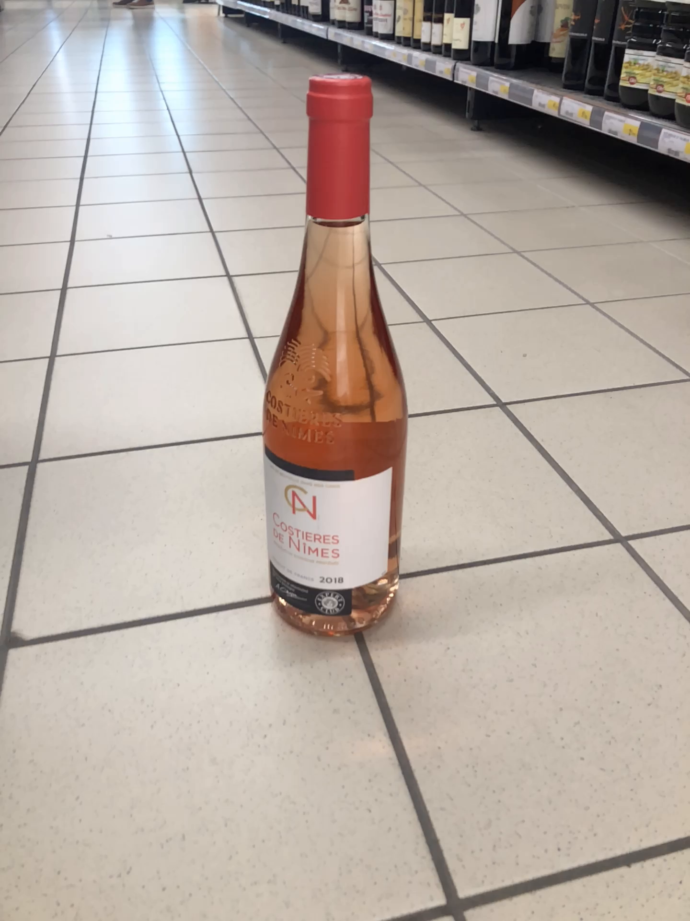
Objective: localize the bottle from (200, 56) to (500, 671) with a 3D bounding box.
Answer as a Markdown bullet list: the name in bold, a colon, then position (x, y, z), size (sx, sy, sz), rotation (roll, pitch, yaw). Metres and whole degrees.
- **bottle**: position (0.005, -0.040, 0.379), size (0.090, 0.278, 0.091), rotation (0, 31, 0)
